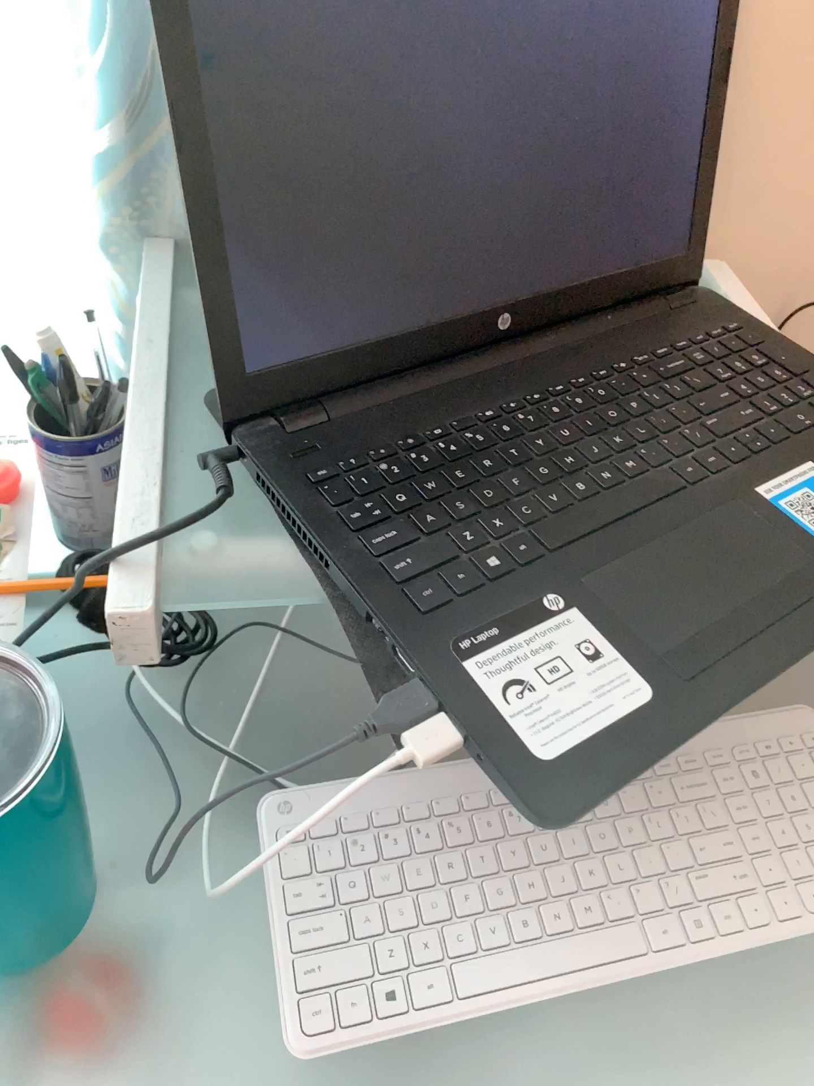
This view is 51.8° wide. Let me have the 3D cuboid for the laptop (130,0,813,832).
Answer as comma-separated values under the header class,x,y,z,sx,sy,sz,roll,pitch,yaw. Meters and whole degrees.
class,x,y,z,sx,sy,sz,roll,pitch,yaw
laptop,0.122,-0.137,0.383,0.364,0.222,0.308,-23,53,-28
